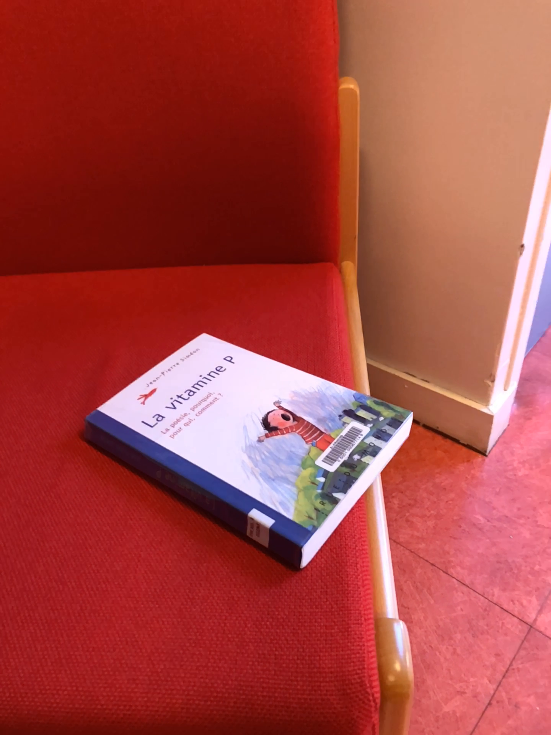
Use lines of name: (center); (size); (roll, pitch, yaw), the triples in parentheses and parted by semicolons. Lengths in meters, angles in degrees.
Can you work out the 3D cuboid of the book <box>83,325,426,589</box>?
book: (-0.018, 0.050, 0.466); (0.215, 0.027, 0.148); (24, 48, 30)
